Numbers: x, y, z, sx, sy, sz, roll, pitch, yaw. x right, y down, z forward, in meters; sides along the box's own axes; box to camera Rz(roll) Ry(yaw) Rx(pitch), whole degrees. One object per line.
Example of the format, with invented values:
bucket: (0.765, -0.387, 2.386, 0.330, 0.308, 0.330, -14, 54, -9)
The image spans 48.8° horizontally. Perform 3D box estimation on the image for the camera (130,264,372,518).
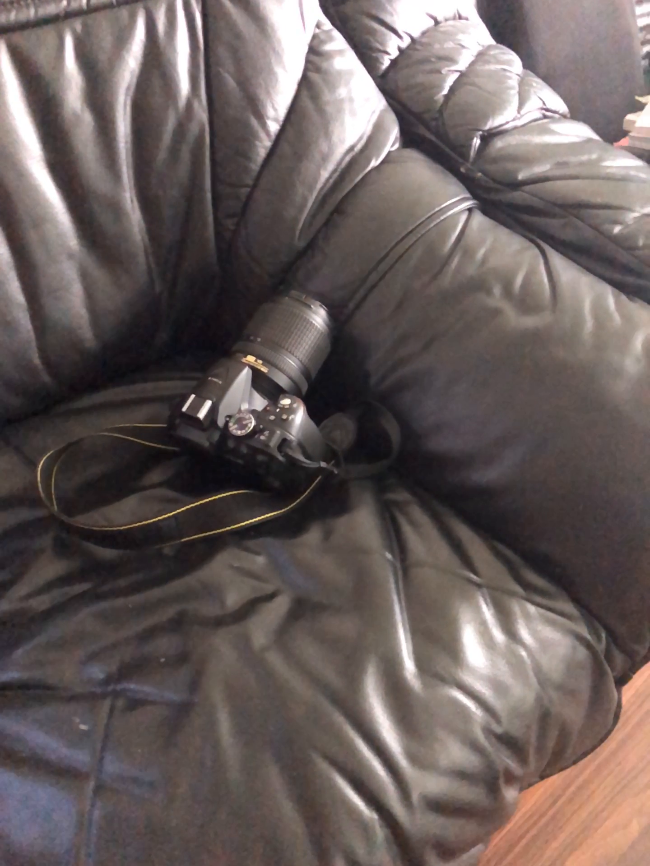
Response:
camera: (-0.061, -0.041, 0.693, 0.140, 0.130, 0.170, 20, 66, 21)
